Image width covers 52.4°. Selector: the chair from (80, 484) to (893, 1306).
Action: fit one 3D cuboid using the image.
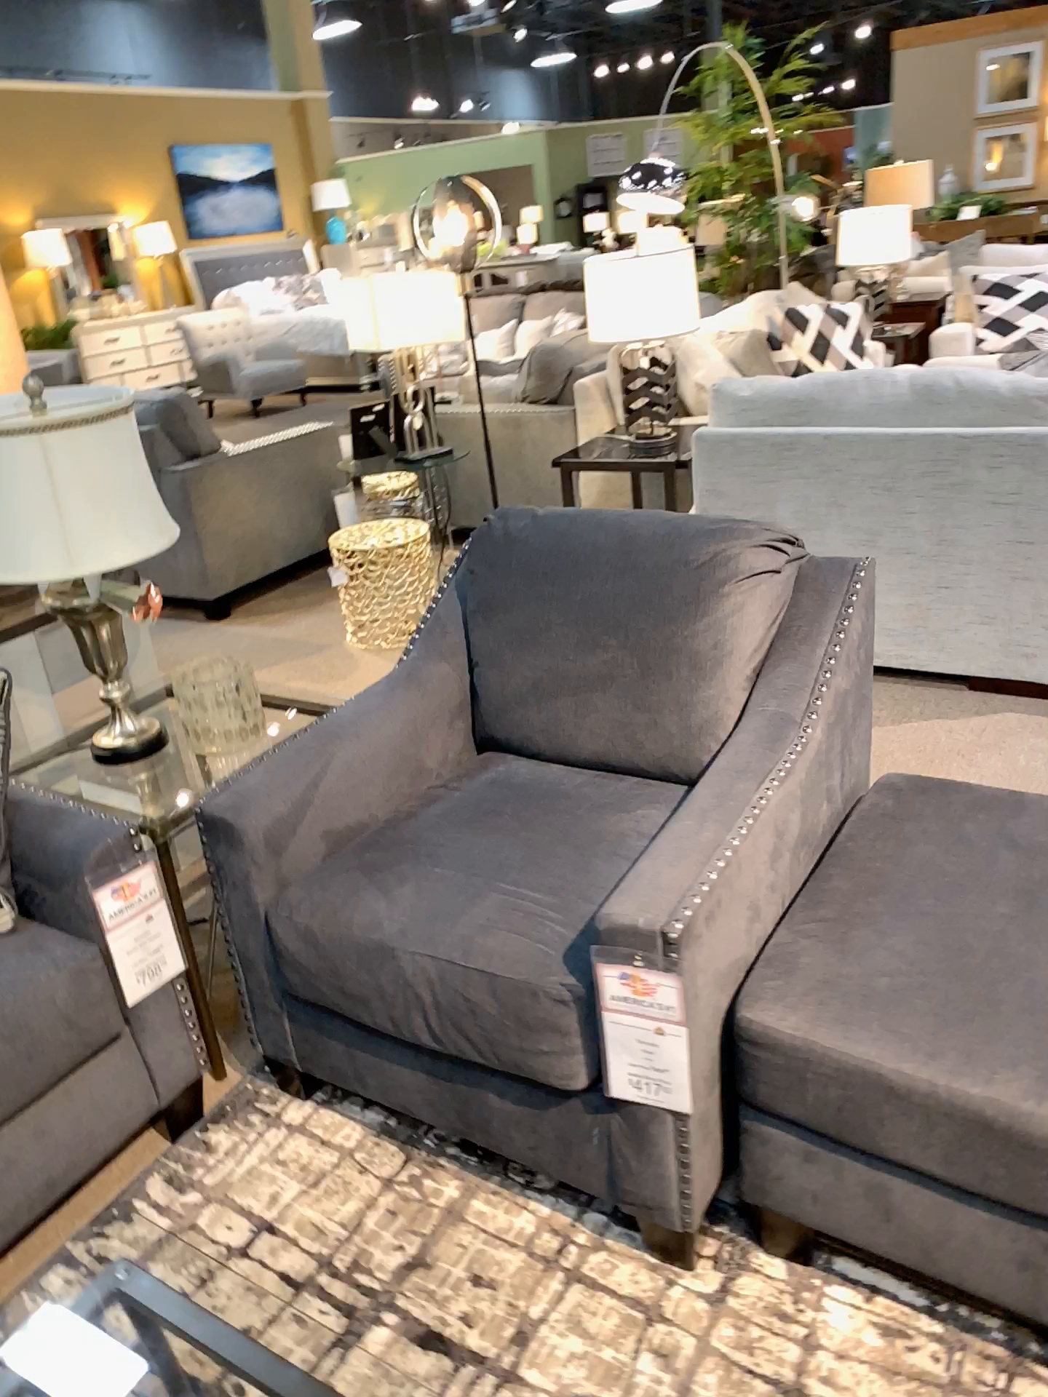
[{"bbox_3d":[0.033,0.174,1.851,0.921,0.840,0.960,9,28,31],"label":"chair"}]
